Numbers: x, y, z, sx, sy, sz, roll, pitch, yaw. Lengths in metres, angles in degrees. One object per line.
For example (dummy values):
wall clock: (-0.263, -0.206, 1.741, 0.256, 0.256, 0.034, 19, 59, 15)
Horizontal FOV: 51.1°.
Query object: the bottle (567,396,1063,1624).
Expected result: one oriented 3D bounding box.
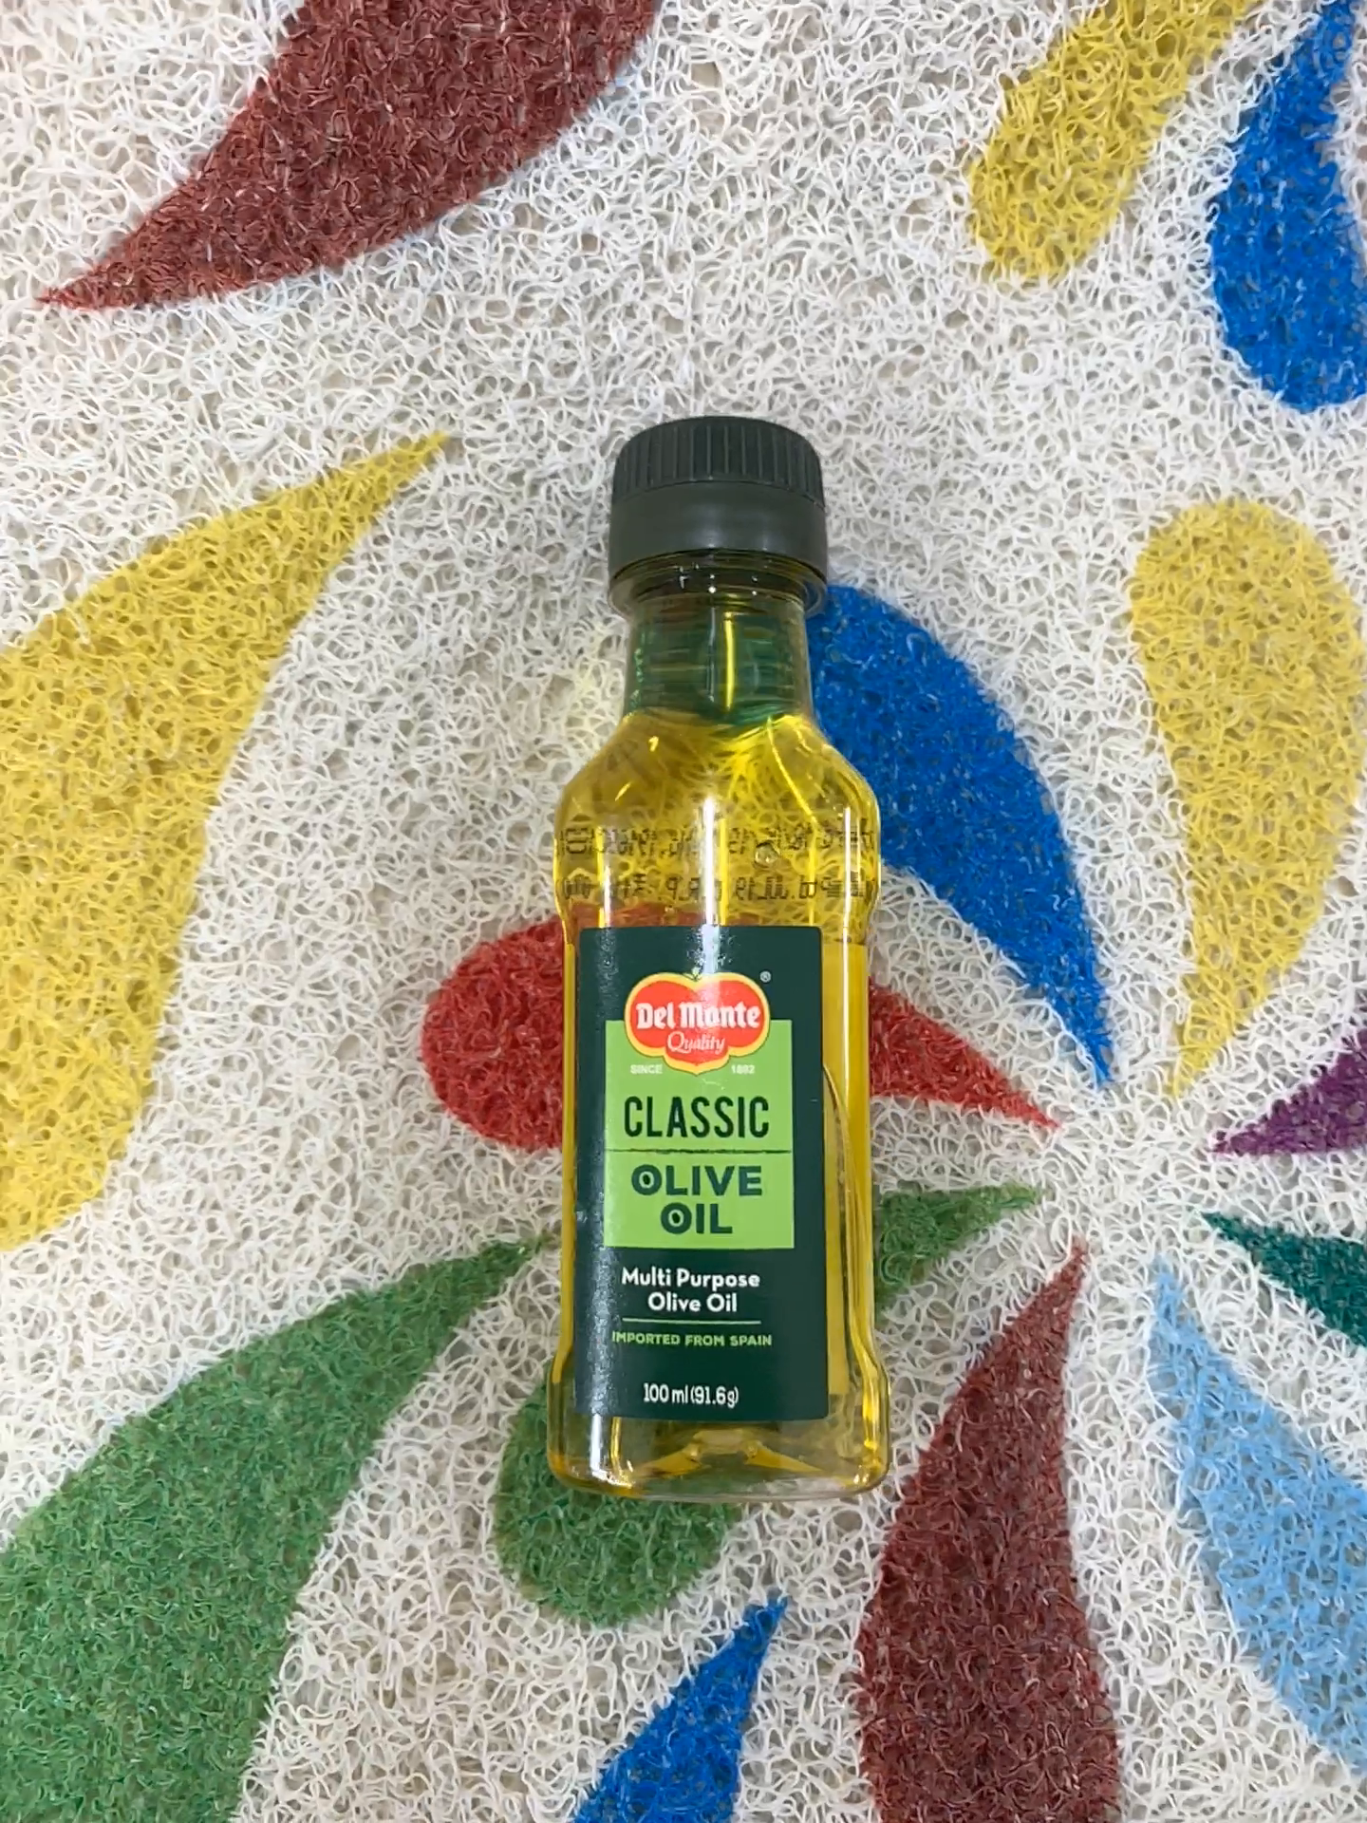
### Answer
bottle: (0.013, 0.011, 0.174, 0.050, 0.040, 0.130, 2, 88, -5)
